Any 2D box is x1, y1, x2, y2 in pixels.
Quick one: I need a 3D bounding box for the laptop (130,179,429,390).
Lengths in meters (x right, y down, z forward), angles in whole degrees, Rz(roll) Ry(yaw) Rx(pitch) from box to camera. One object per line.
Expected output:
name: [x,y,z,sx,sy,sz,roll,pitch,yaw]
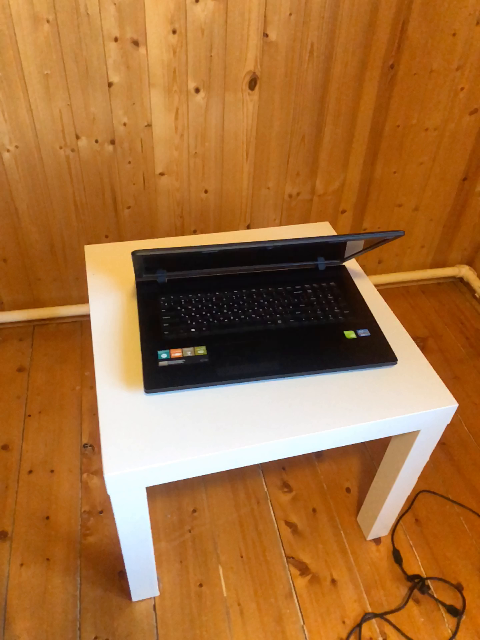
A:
laptop: [0.042,-0.072,0.841,0.401,0.183,0.252,-5,43,-12]
